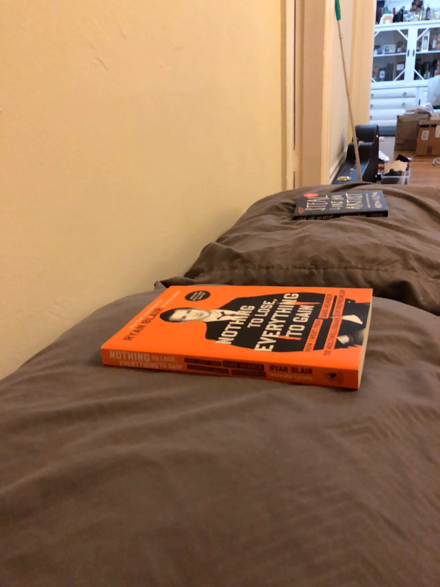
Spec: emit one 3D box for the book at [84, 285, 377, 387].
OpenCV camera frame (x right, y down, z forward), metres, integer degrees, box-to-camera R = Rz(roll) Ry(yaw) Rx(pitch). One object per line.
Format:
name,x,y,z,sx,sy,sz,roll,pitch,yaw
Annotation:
book,0.018,0.028,0.441,0.230,0.020,0.151,2,20,21
